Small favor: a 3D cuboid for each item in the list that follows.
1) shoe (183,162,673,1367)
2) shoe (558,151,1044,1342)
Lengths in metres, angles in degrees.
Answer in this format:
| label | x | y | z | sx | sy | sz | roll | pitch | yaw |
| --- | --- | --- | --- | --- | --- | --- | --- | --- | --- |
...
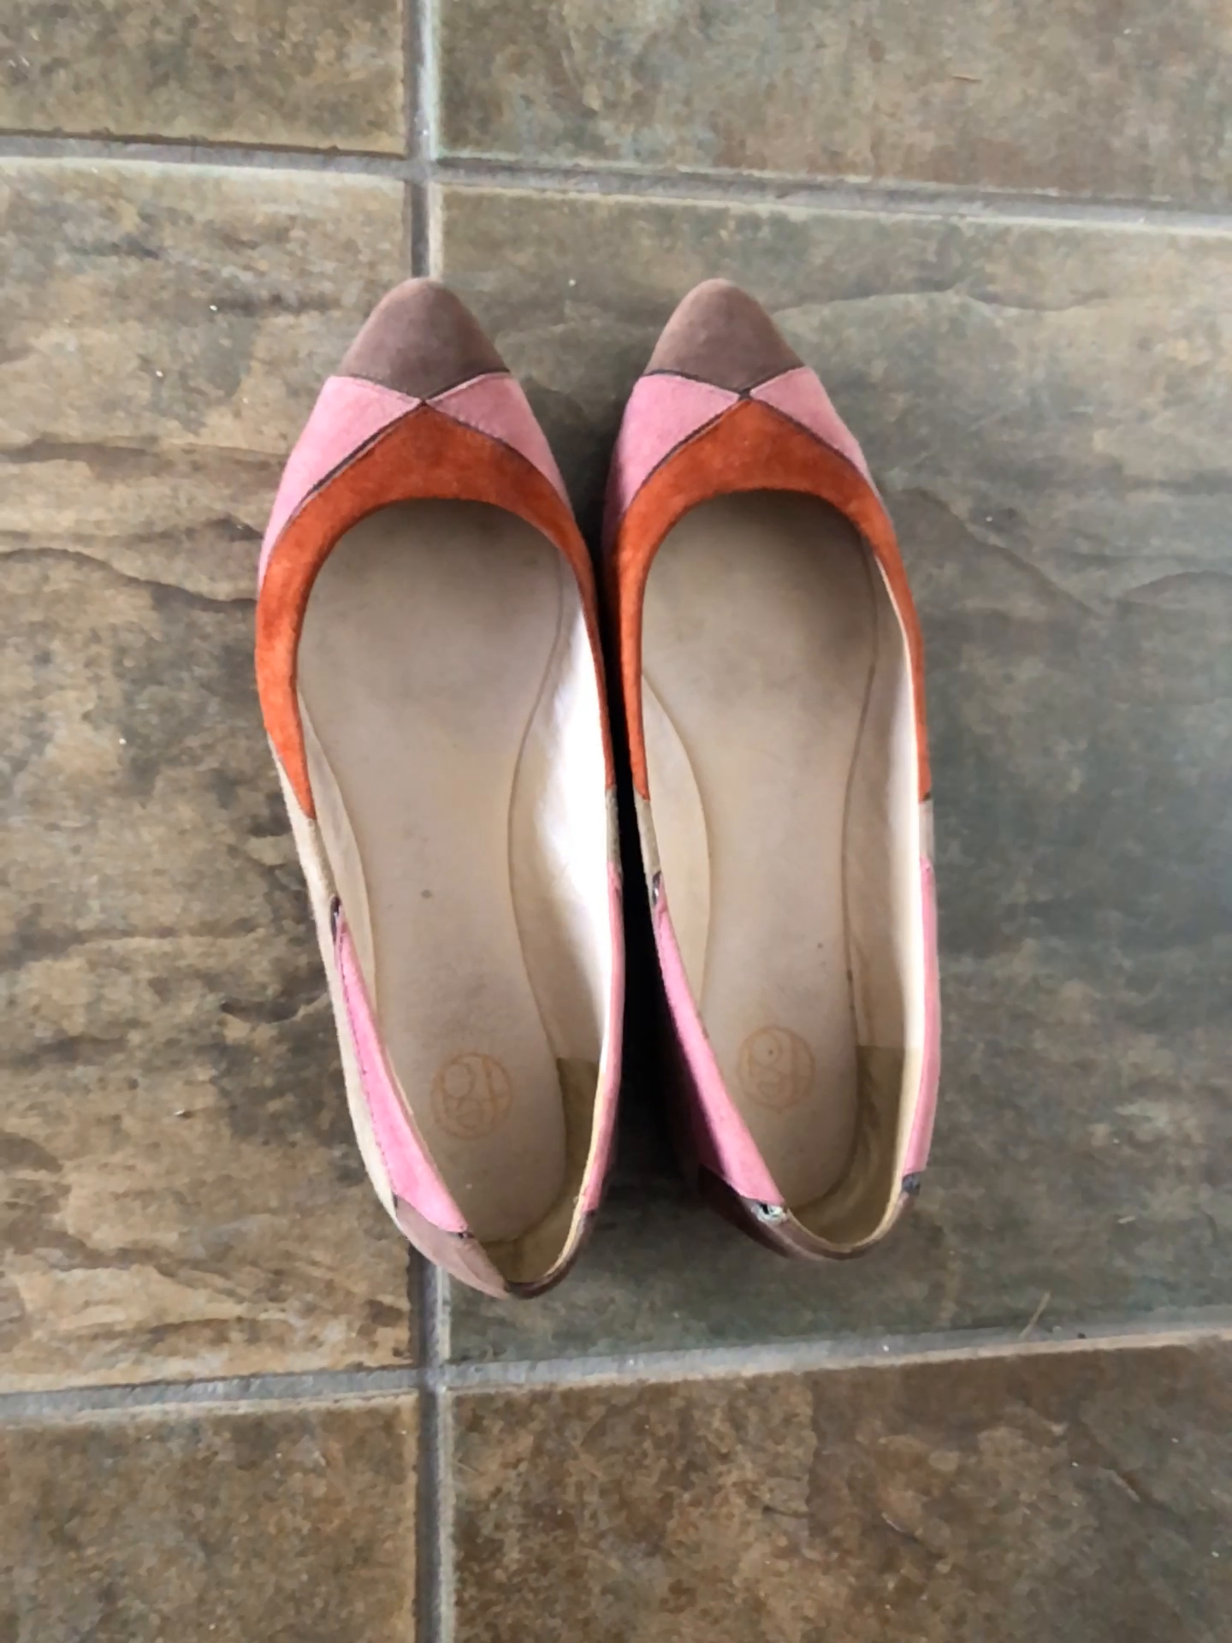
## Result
| label | x | y | z | sx | sy | sz | roll | pitch | yaw |
| --- | --- | --- | --- | --- | --- | --- | --- | --- | --- |
| shoe | -0.047 | -0.016 | 0.346 | 0.090 | 0.070 | 0.270 | -5 | 88 | -8 |
| shoe | 0.042 | -0.020 | 0.348 | 0.090 | 0.070 | 0.270 | -3 | 88 | -8 |
